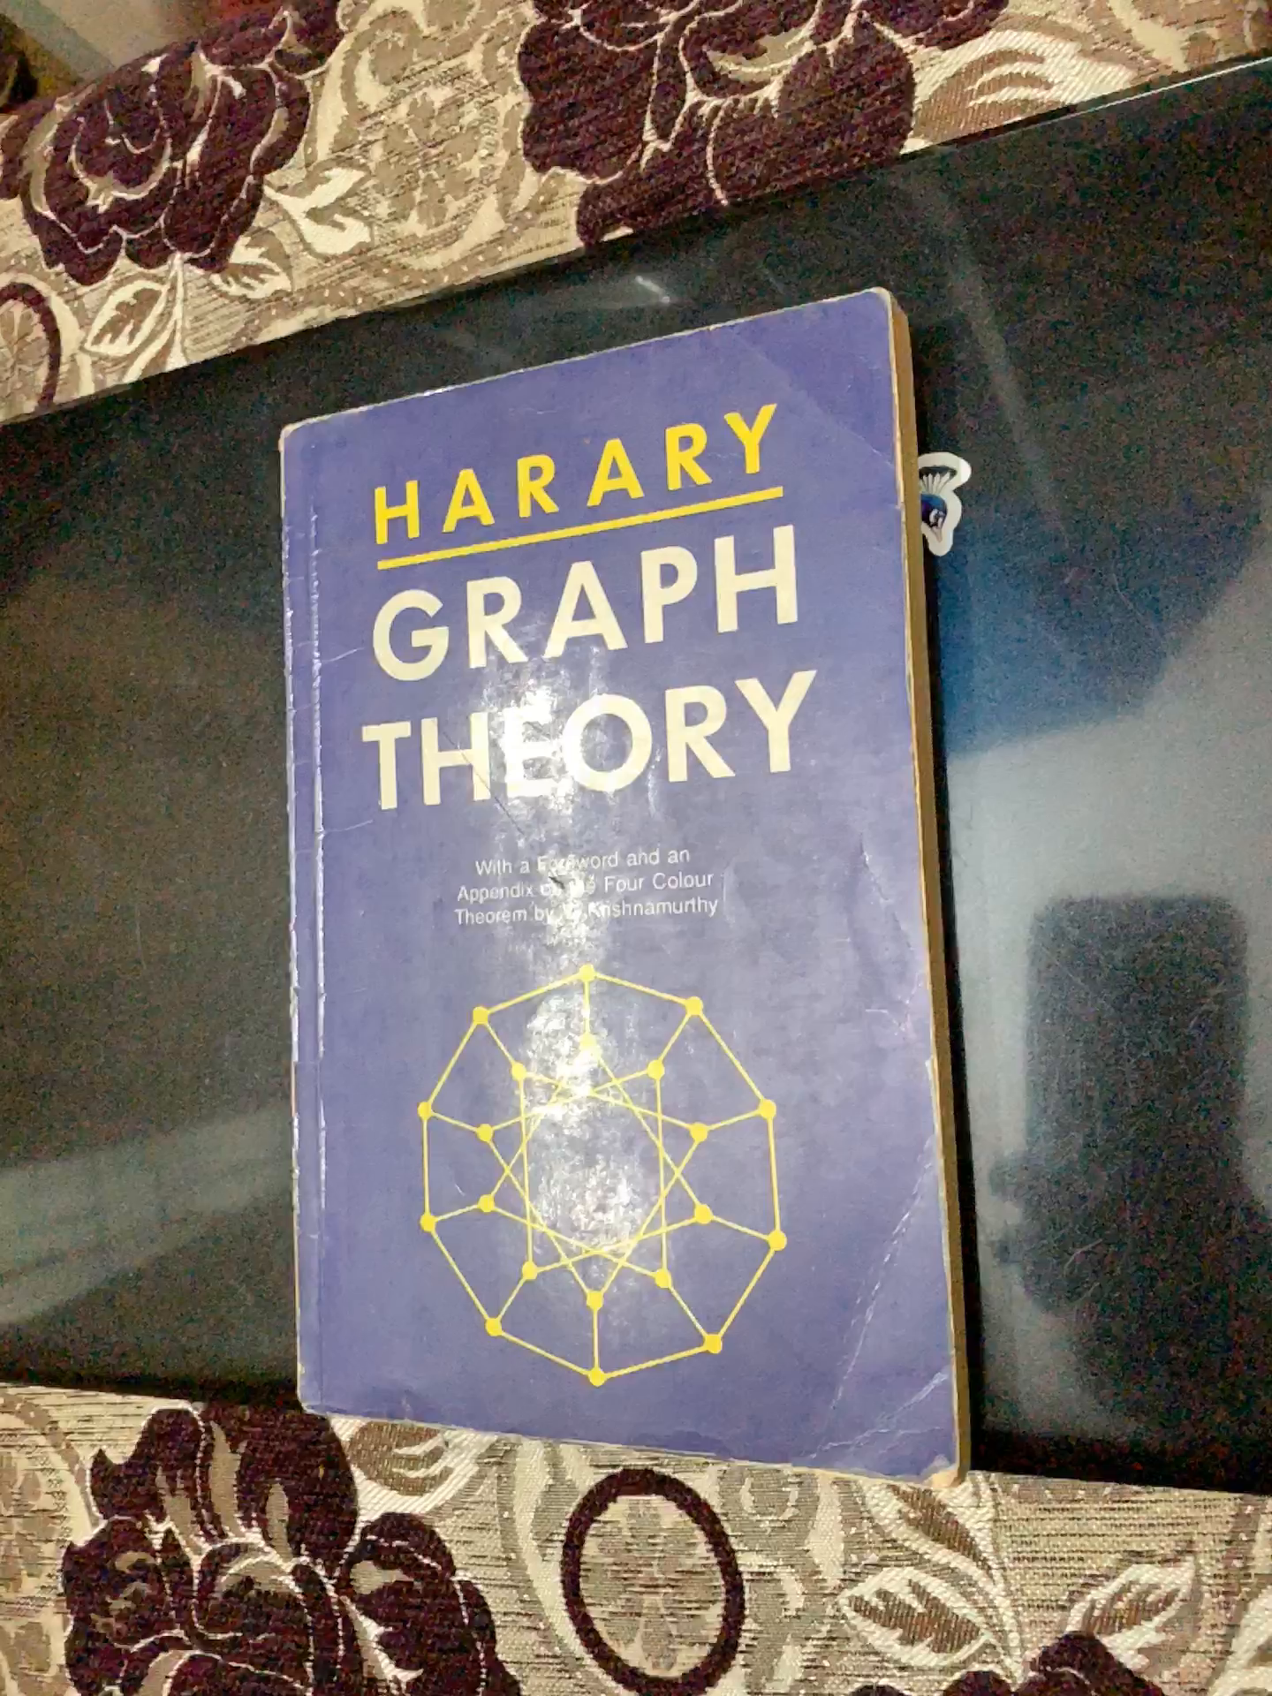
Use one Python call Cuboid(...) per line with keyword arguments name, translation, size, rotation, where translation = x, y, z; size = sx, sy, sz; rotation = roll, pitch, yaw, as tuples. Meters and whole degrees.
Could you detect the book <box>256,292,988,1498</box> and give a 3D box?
Cuboid(name="book", translation=(-0.010, 0.009, 0.256), size=(0.140, 0.020, 0.200), rotation=(-4, 85, 23))
